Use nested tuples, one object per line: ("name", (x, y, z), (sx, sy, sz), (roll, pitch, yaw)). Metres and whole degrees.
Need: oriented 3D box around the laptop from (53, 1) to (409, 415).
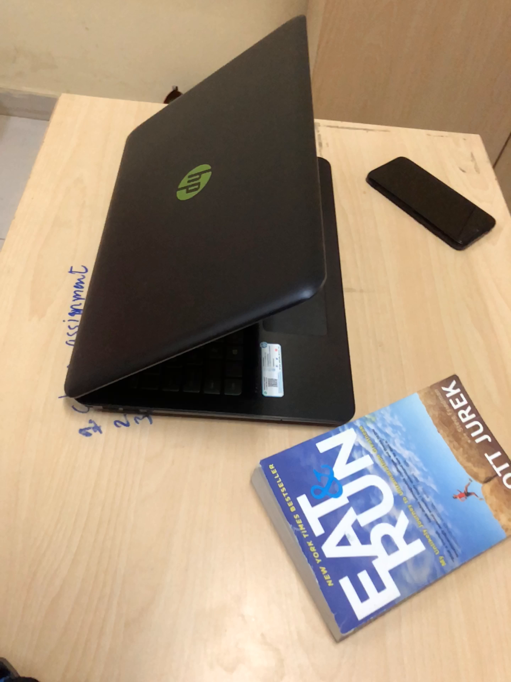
("laptop", (-0.019, -0.136, 0.533), (0.230, 0.167, 0.361), (4, 54, -5))
